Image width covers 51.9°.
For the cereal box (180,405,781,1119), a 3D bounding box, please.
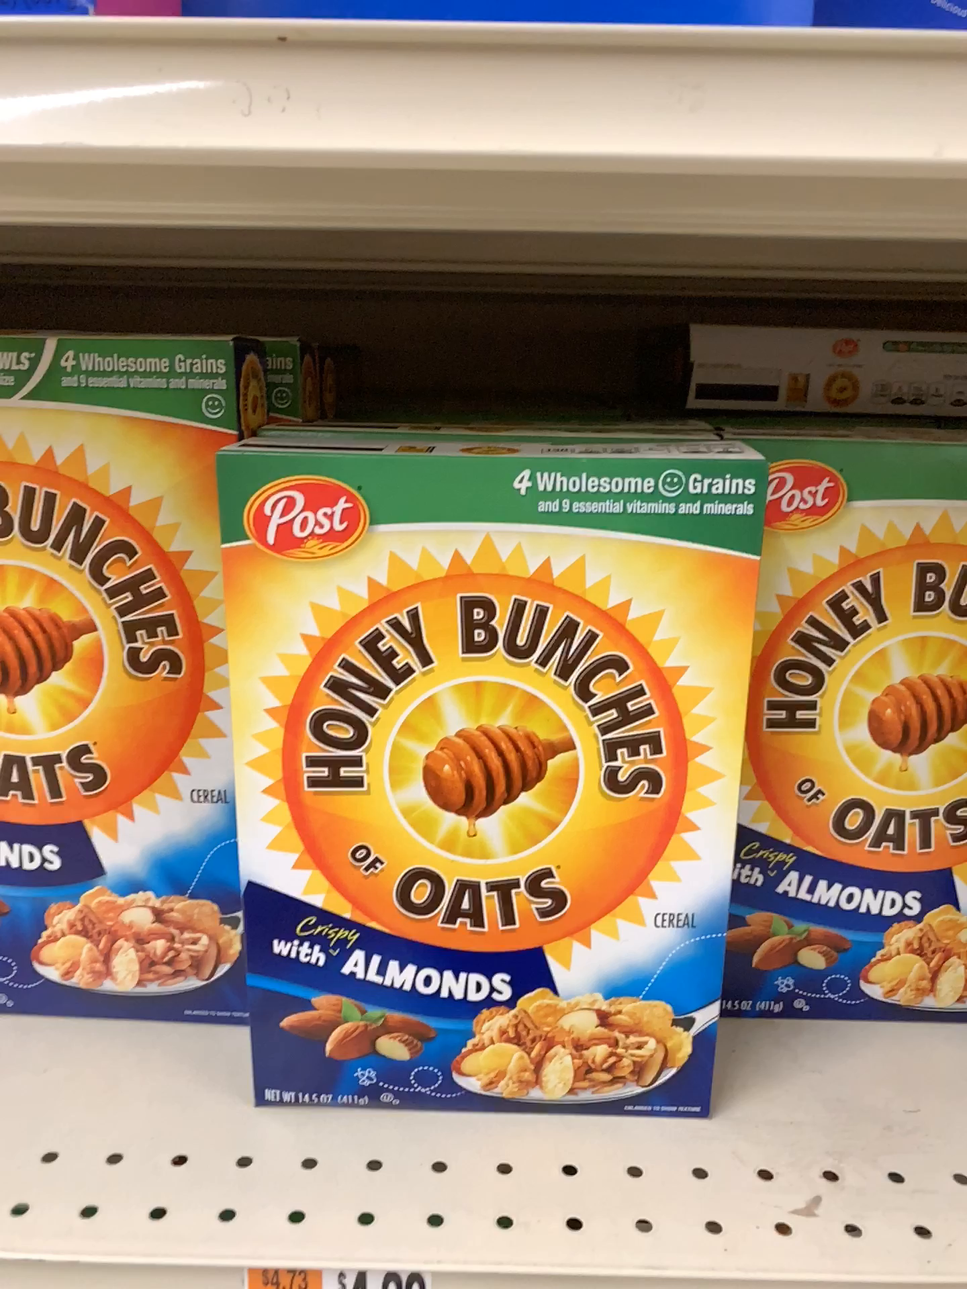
[{"bbox_3d":[-0.003,0.051,0.399,0.200,0.279,0.060,1,17,1],"label":"cereal box"}]
